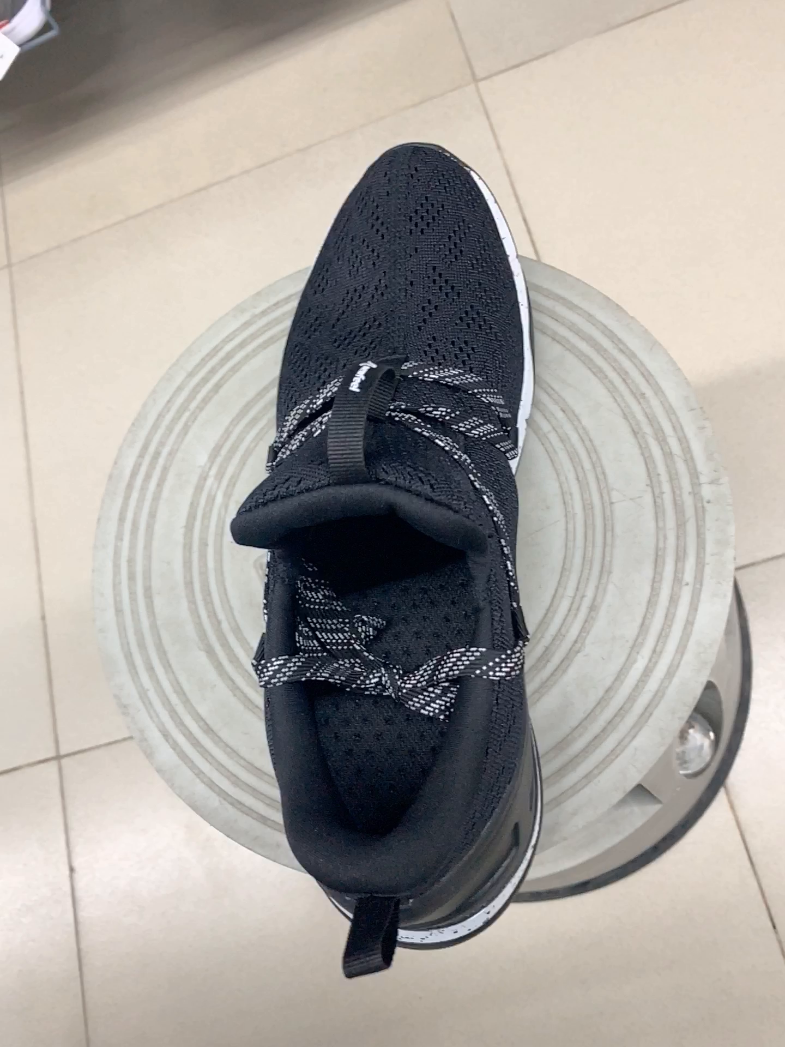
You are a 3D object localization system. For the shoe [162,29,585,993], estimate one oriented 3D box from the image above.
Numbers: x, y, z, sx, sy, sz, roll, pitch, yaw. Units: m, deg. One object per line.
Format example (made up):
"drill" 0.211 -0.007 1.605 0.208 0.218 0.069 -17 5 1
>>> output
"shoe" 0.000 -0.013 0.280 0.100 0.090 0.290 -6 69 13
